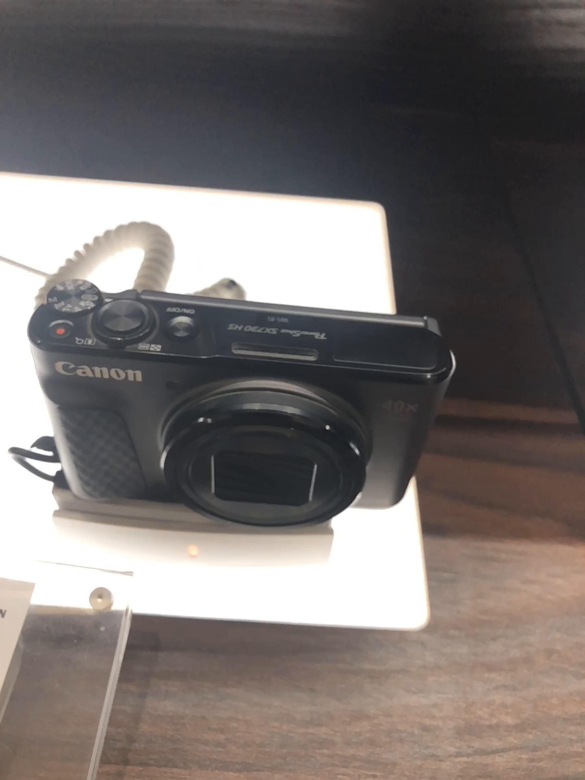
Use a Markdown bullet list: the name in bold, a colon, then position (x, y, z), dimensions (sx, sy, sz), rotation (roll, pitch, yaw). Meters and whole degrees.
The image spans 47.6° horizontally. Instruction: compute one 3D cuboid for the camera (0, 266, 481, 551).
- **camera**: position (-0.016, 0.008, 0.188), dimensions (0.114, 0.069, 0.035), rotation (5, 47, -2)
